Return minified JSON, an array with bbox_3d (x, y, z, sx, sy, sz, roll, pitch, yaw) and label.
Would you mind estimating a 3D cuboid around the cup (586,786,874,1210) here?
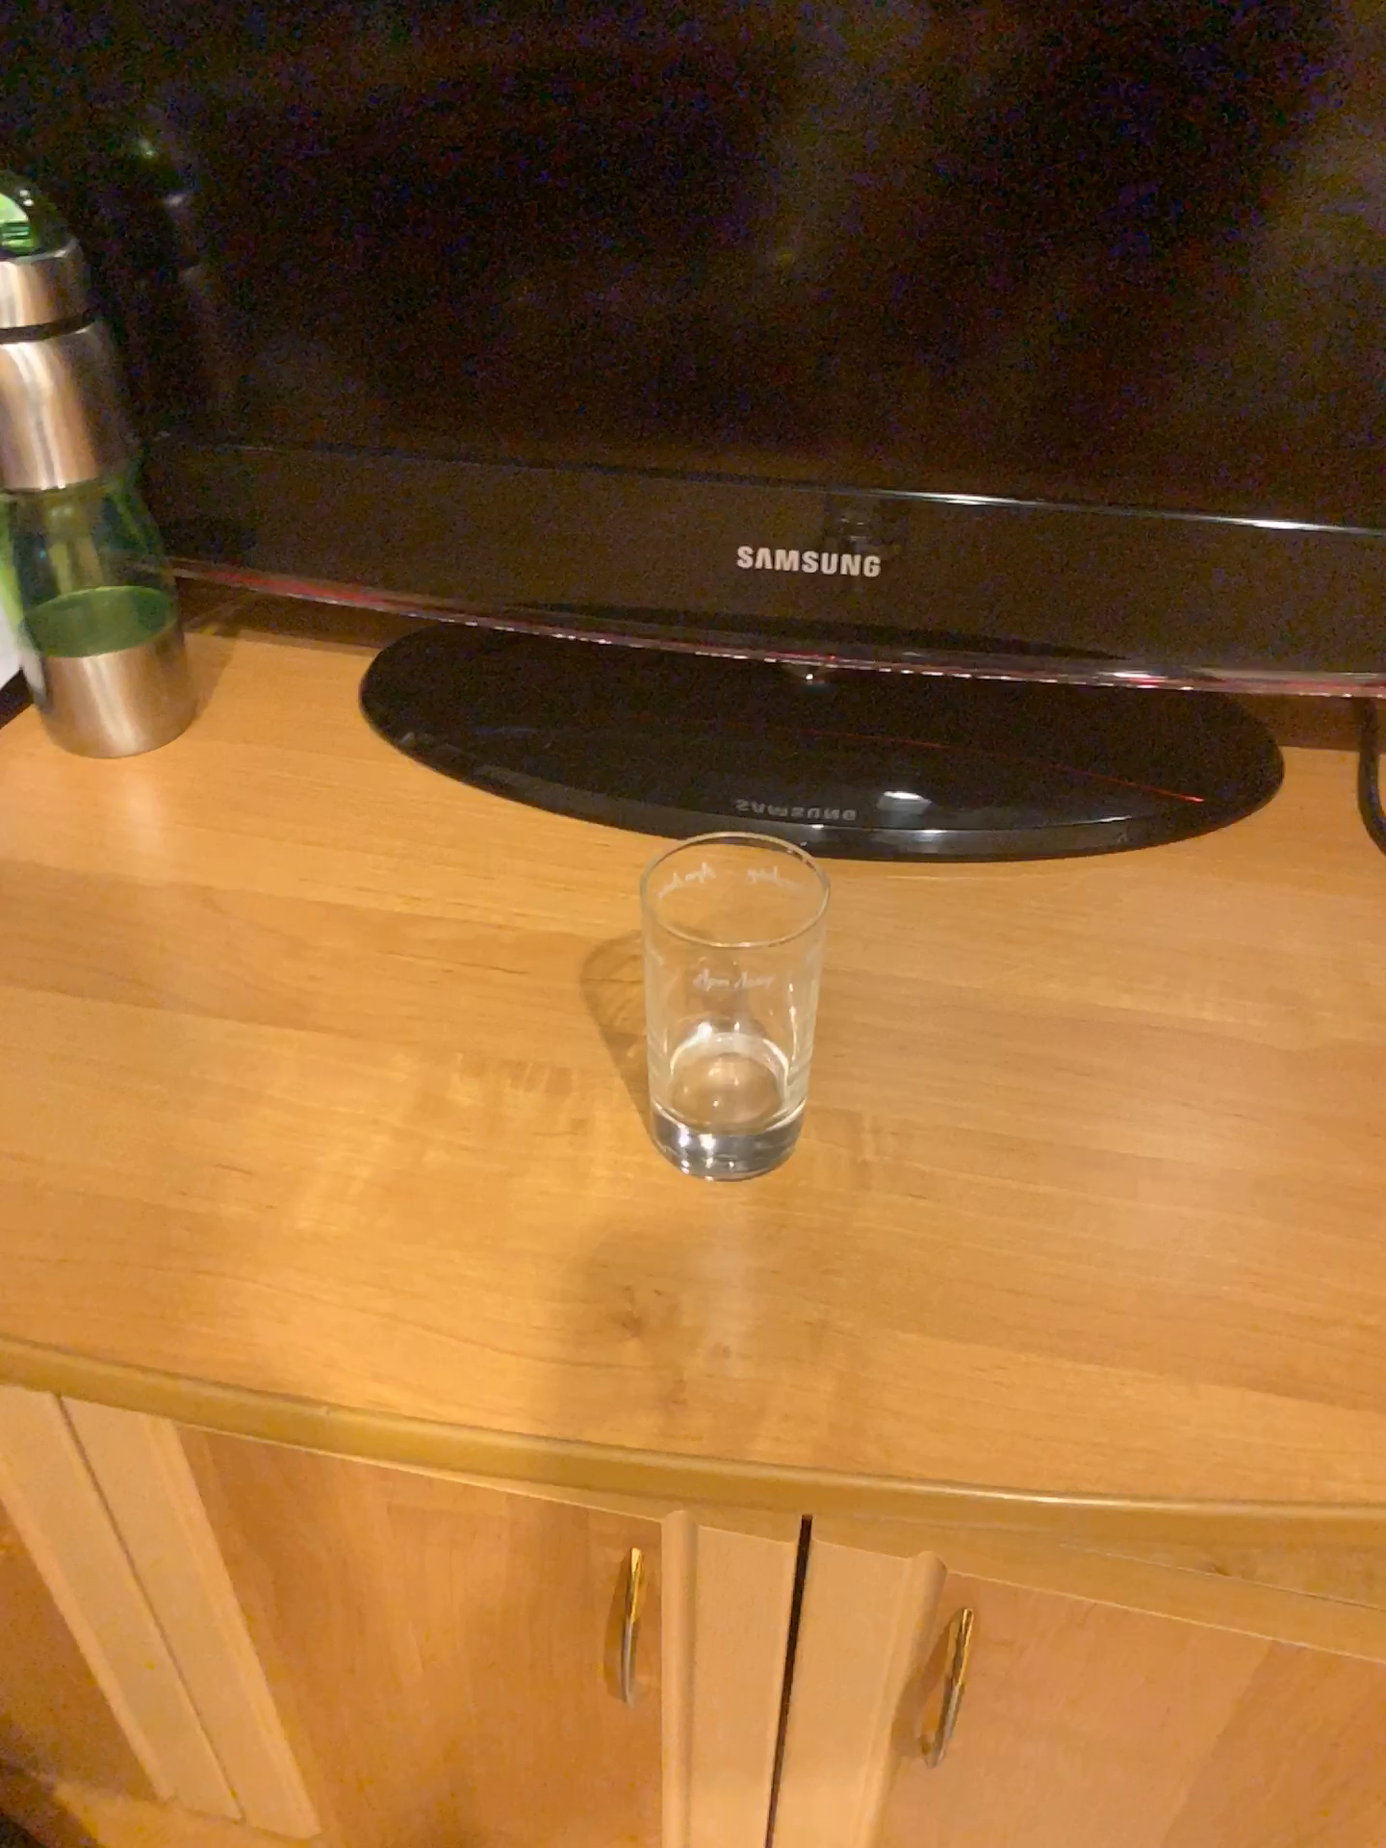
[{"bbox_3d":[0.009,0.022,0.430,0.060,0.099,0.060,0,37,0],"label":"cup"}]
